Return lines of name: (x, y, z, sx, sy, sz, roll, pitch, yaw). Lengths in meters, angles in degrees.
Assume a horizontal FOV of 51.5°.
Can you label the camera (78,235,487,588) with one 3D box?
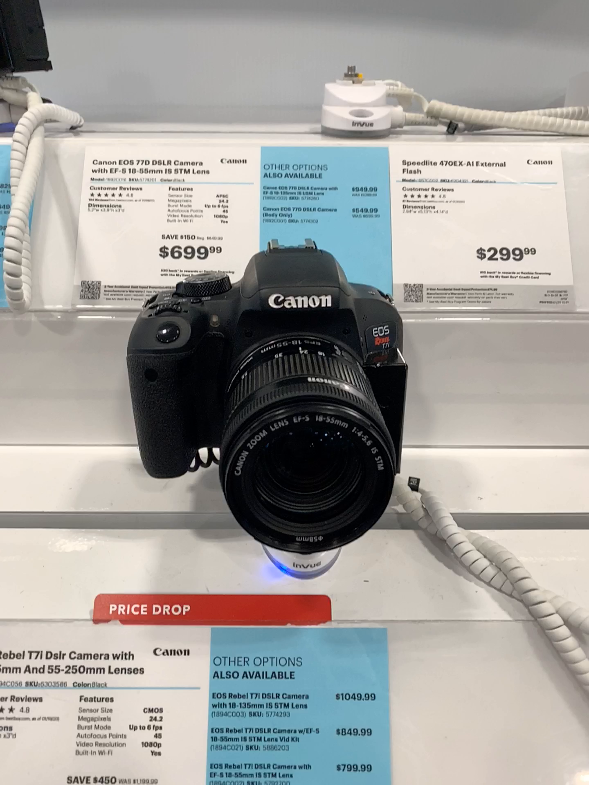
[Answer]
camera: (-0.007, -0.004, 0.278, 0.130, 0.100, 0.139, -3, 27, -3)
